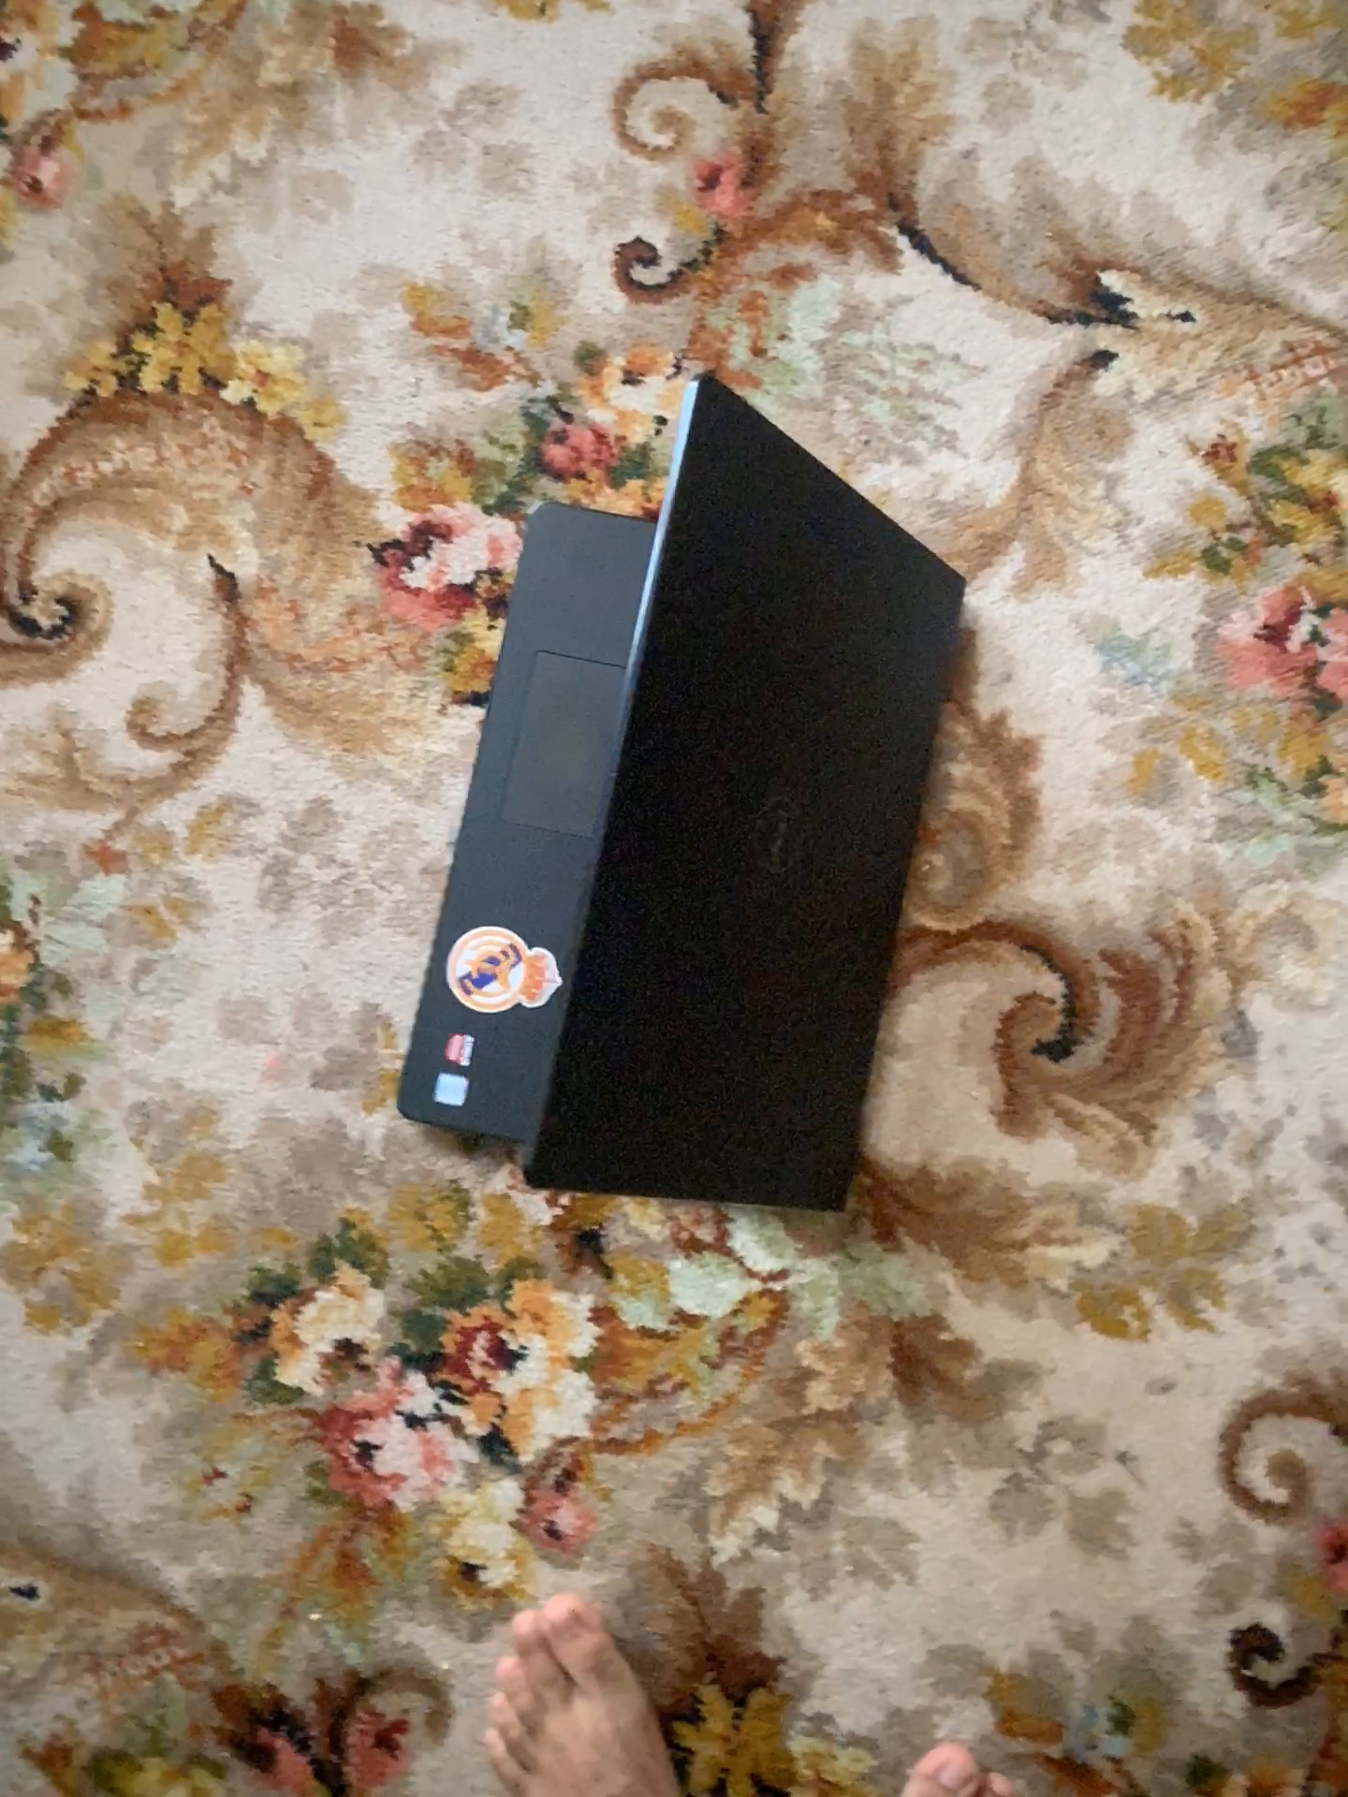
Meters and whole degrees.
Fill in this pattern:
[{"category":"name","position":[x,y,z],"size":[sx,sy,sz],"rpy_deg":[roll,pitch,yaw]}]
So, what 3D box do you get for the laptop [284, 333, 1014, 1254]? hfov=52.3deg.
[{"category":"laptop","position":[-0.003,-0.043,0.696],"size":[0.251,0.194,0.367],"rpy_deg":[11,85,3]}]
